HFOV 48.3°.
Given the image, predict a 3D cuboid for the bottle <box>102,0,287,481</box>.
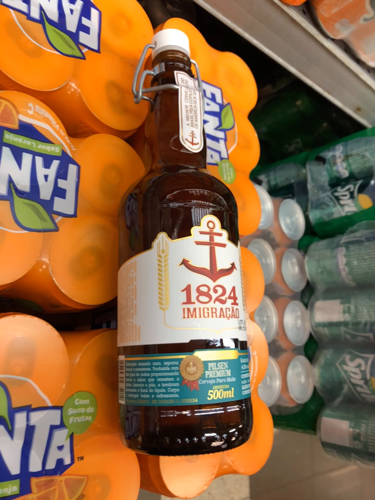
[{"bbox_3d":[0.003,-0.022,0.235,0.080,0.050,0.250,9,75,-41],"label":"bottle"}]
